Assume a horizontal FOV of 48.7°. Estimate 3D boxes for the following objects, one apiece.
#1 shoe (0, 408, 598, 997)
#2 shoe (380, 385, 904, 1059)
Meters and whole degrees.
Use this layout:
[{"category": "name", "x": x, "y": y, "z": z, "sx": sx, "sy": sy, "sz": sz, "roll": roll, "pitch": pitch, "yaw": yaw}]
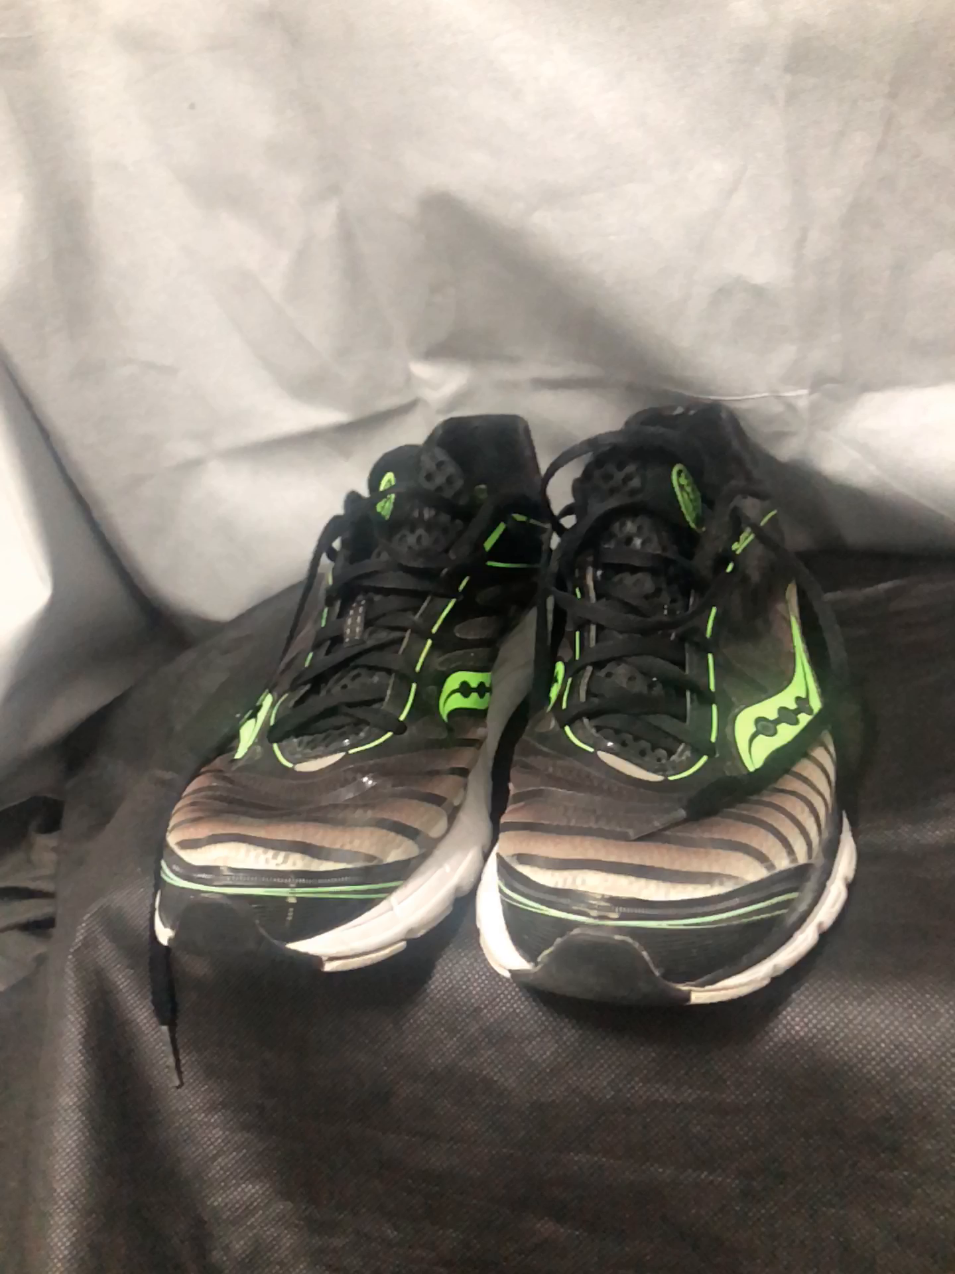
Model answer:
[{"category": "shoe", "x": -0.040, "y": 0.002, "z": 0.384, "sx": 0.117, "sy": 0.096, "sz": 0.225, "roll": 1, "pitch": 30, "yaw": 19}, {"category": "shoe", "x": 0.070, "y": 0.003, "z": 0.344, "sx": 0.114, "sy": 0.097, "sz": 0.225, "roll": 1, "pitch": 30, "yaw": 19}]
